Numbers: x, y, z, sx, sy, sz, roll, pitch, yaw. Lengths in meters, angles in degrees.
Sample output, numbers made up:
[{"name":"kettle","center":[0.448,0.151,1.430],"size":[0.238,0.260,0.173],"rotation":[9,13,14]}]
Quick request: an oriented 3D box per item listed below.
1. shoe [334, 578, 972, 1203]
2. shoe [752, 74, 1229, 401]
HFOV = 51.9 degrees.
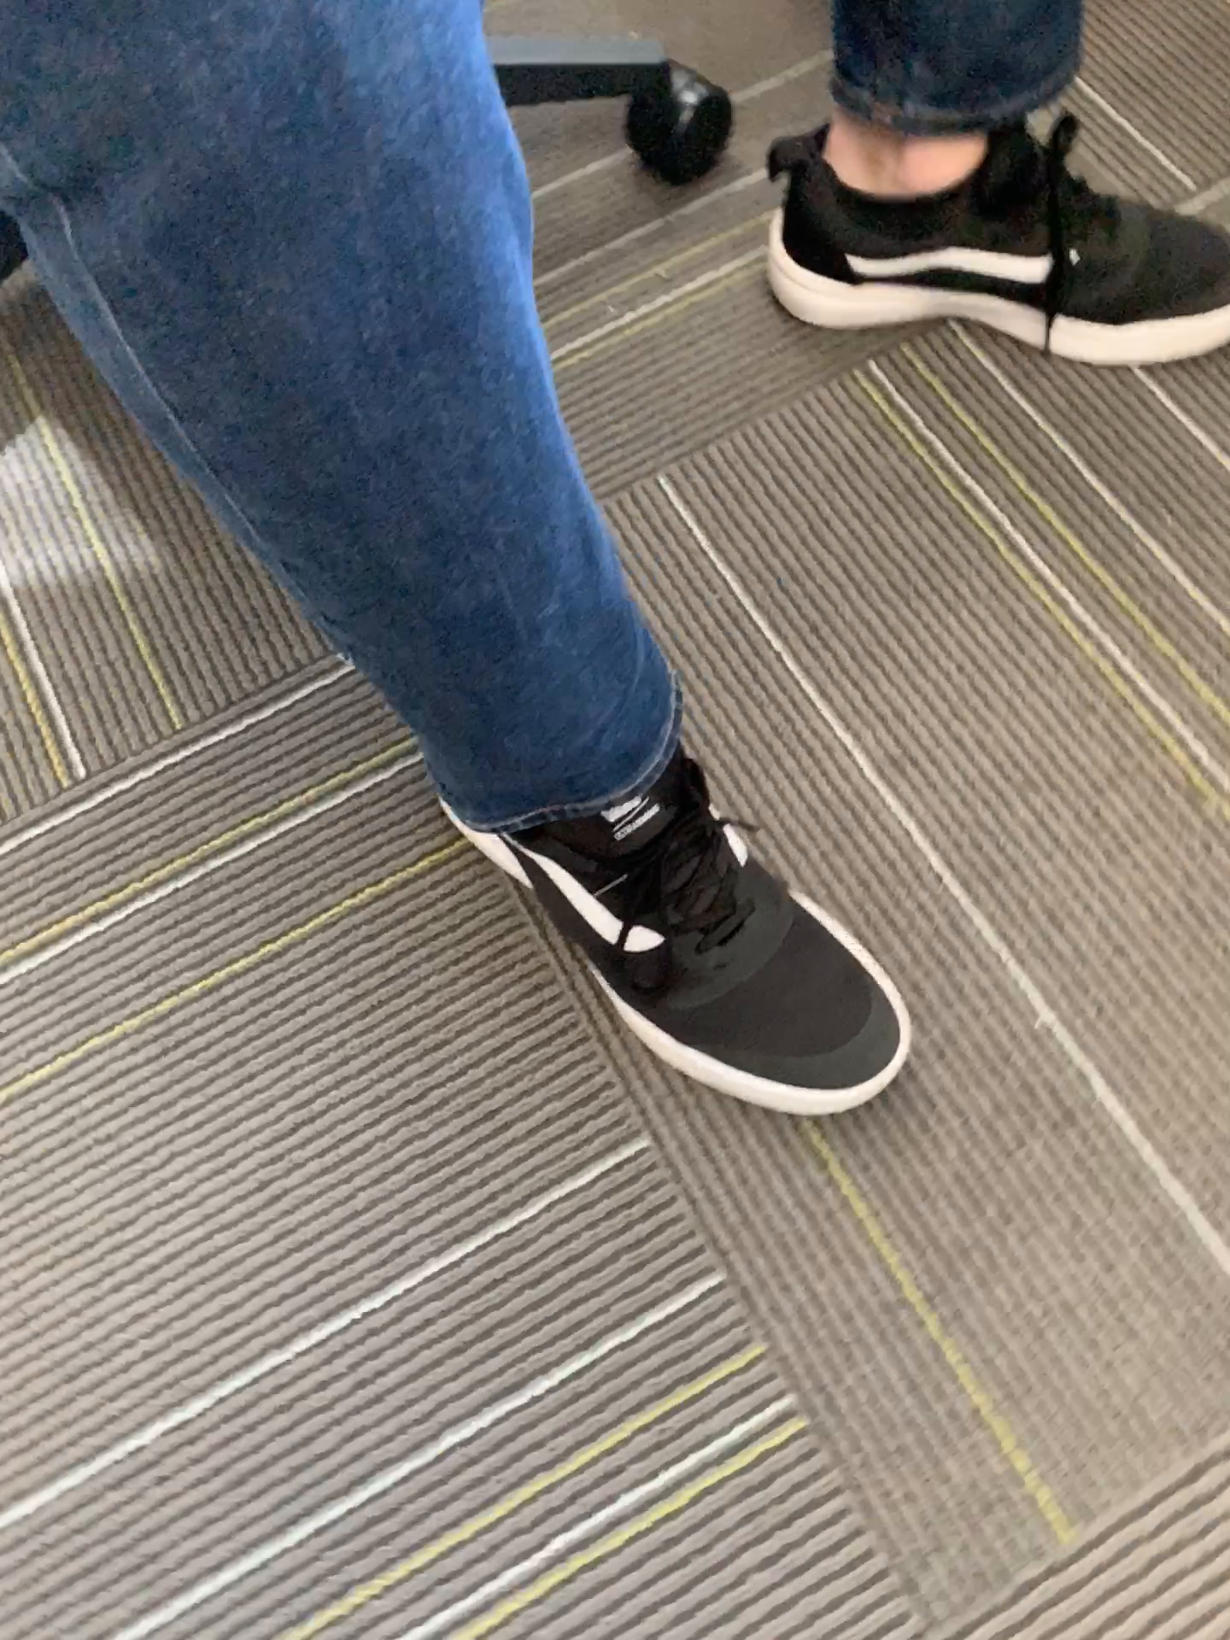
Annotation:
[{"name":"shoe","center":[0.014,0.035,0.670],"size":[0.120,0.120,0.321],"rotation":[-43,70,-12]},{"name":"shoe","center":[0.255,-0.362,0.787],"size":[0.320,0.110,0.120],"rotation":[9,69,9]}]
